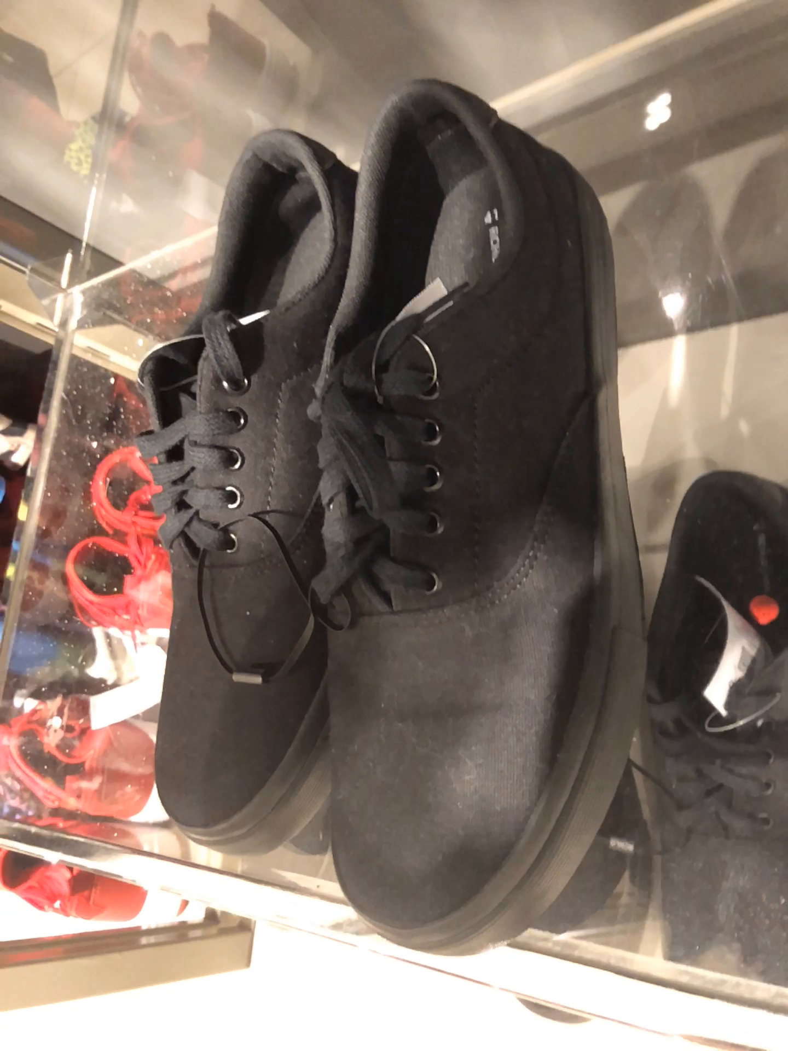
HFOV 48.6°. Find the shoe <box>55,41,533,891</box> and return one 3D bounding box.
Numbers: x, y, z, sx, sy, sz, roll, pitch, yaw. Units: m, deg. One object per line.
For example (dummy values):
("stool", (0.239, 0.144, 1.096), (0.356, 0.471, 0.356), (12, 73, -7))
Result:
("shoe", (-0.036, -0.023, 0.391), (0.111, 0.109, 0.320), (1, 76, 40))

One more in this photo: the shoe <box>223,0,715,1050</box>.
("shoe", (0.040, -0.012, 0.316), (0.110, 0.109, 0.320), (-6, 72, 39))
